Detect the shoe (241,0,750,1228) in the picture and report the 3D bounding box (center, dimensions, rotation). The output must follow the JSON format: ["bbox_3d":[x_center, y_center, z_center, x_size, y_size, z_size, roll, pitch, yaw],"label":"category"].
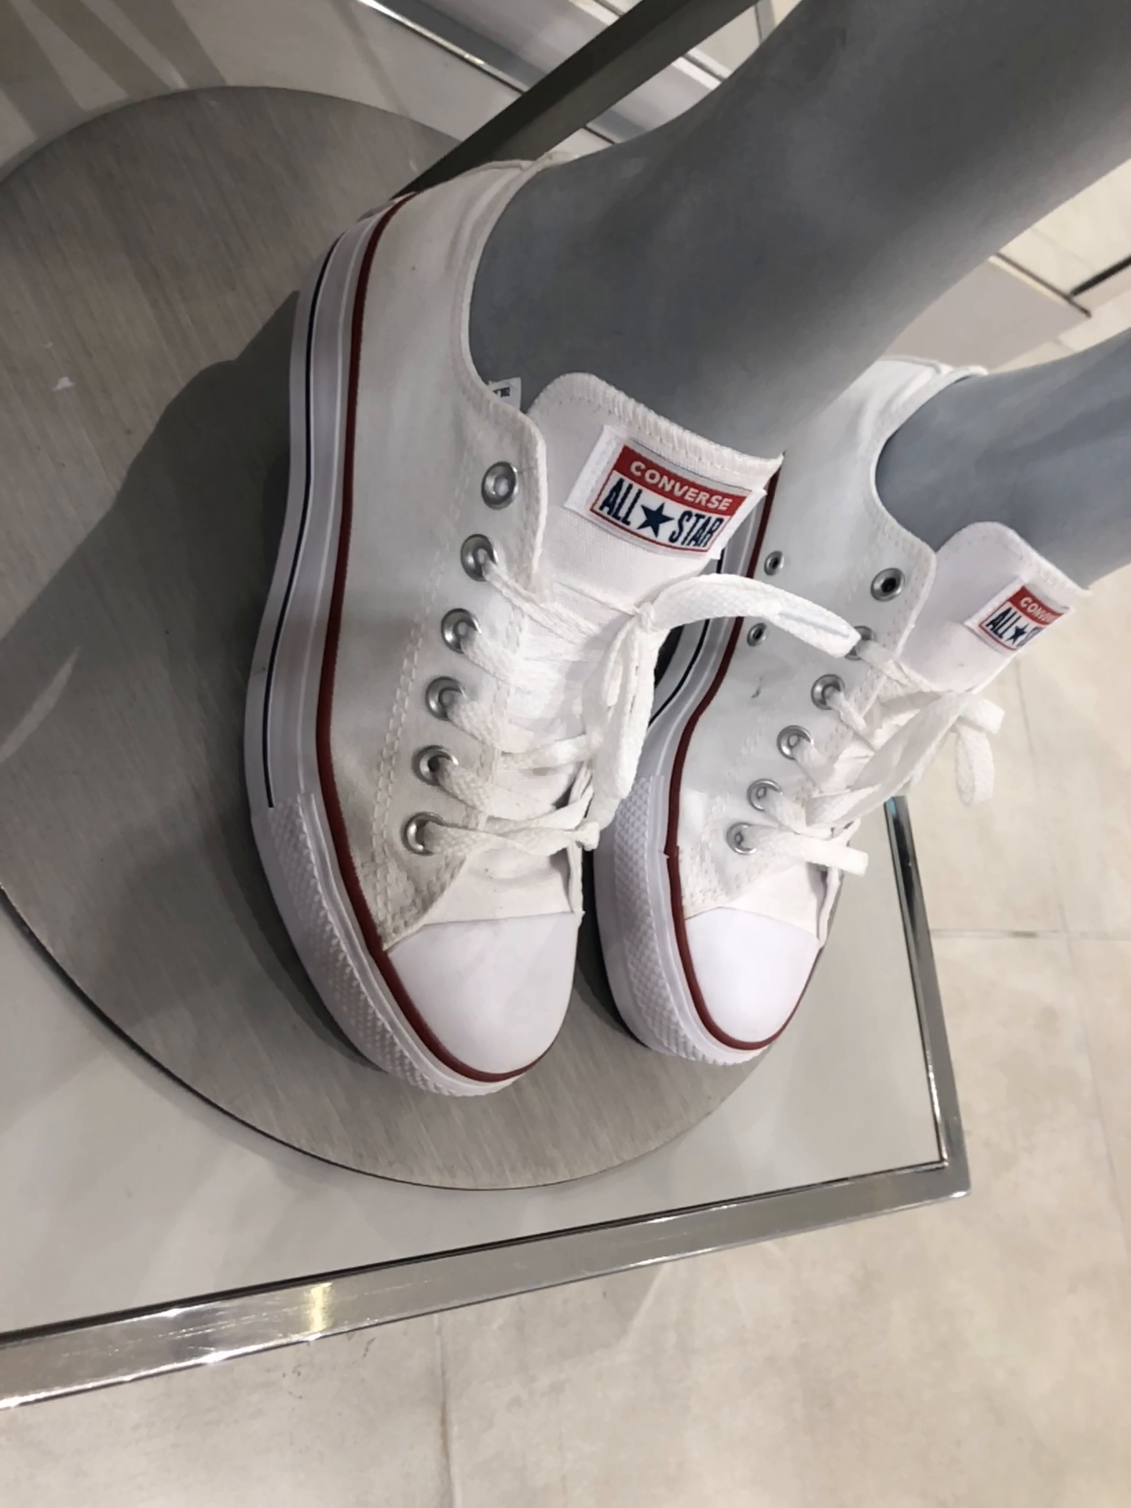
[{"bbox_3d":[-0.019,-0.033,0.336,0.101,0.089,0.270,1,89,-41],"label":"shoe"}]

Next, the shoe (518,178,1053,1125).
[{"bbox_3d":[0.080,-0.028,0.432,0.111,0.089,0.280,18,79,-36],"label":"shoe"}]
